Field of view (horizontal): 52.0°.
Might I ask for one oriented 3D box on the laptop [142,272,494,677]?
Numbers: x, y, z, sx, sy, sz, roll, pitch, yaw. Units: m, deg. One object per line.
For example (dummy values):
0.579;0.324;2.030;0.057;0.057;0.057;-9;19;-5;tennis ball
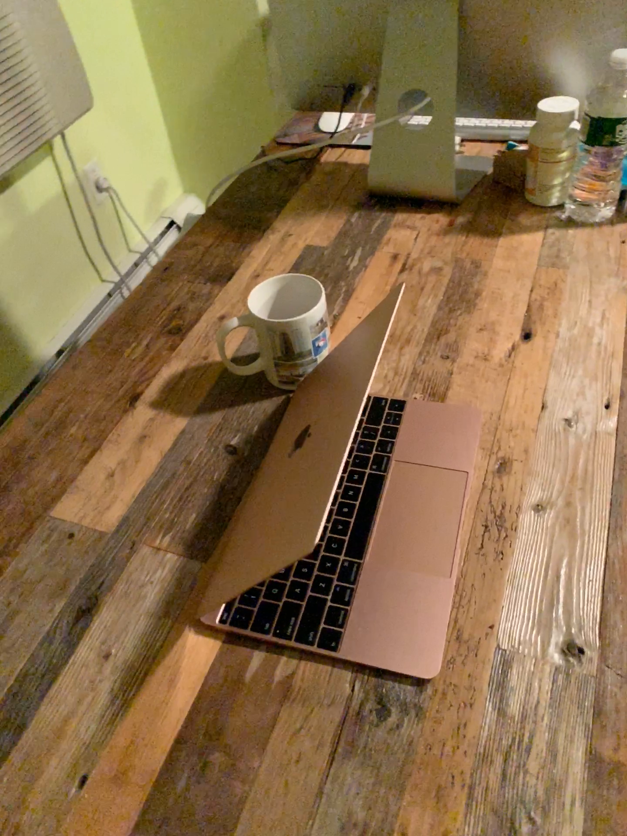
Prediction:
0.029;0.028;0.538;0.193;0.145;0.279;9;48;16;laptop
